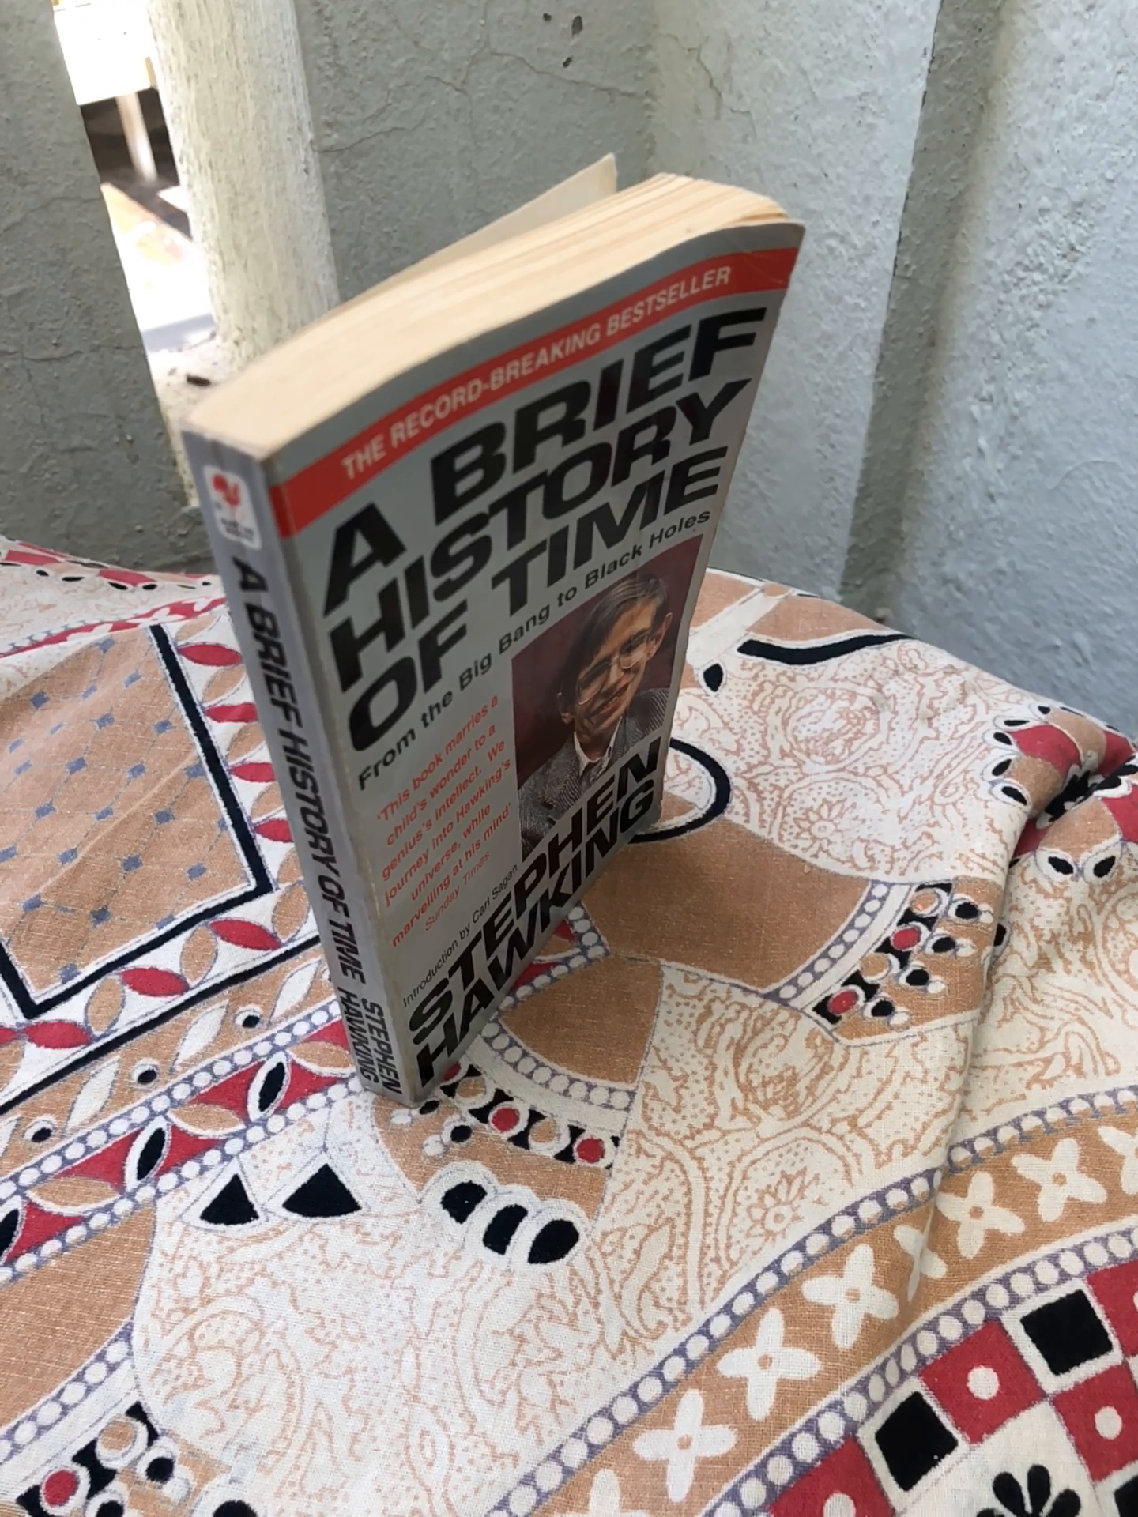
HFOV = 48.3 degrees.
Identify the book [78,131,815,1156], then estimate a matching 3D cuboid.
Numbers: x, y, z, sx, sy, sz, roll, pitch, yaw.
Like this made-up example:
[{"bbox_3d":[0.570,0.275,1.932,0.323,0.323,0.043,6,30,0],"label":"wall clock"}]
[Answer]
[{"bbox_3d":[-0.011,-0.015,0.255,0.030,0.169,0.130,32,54,26],"label":"book"}]
